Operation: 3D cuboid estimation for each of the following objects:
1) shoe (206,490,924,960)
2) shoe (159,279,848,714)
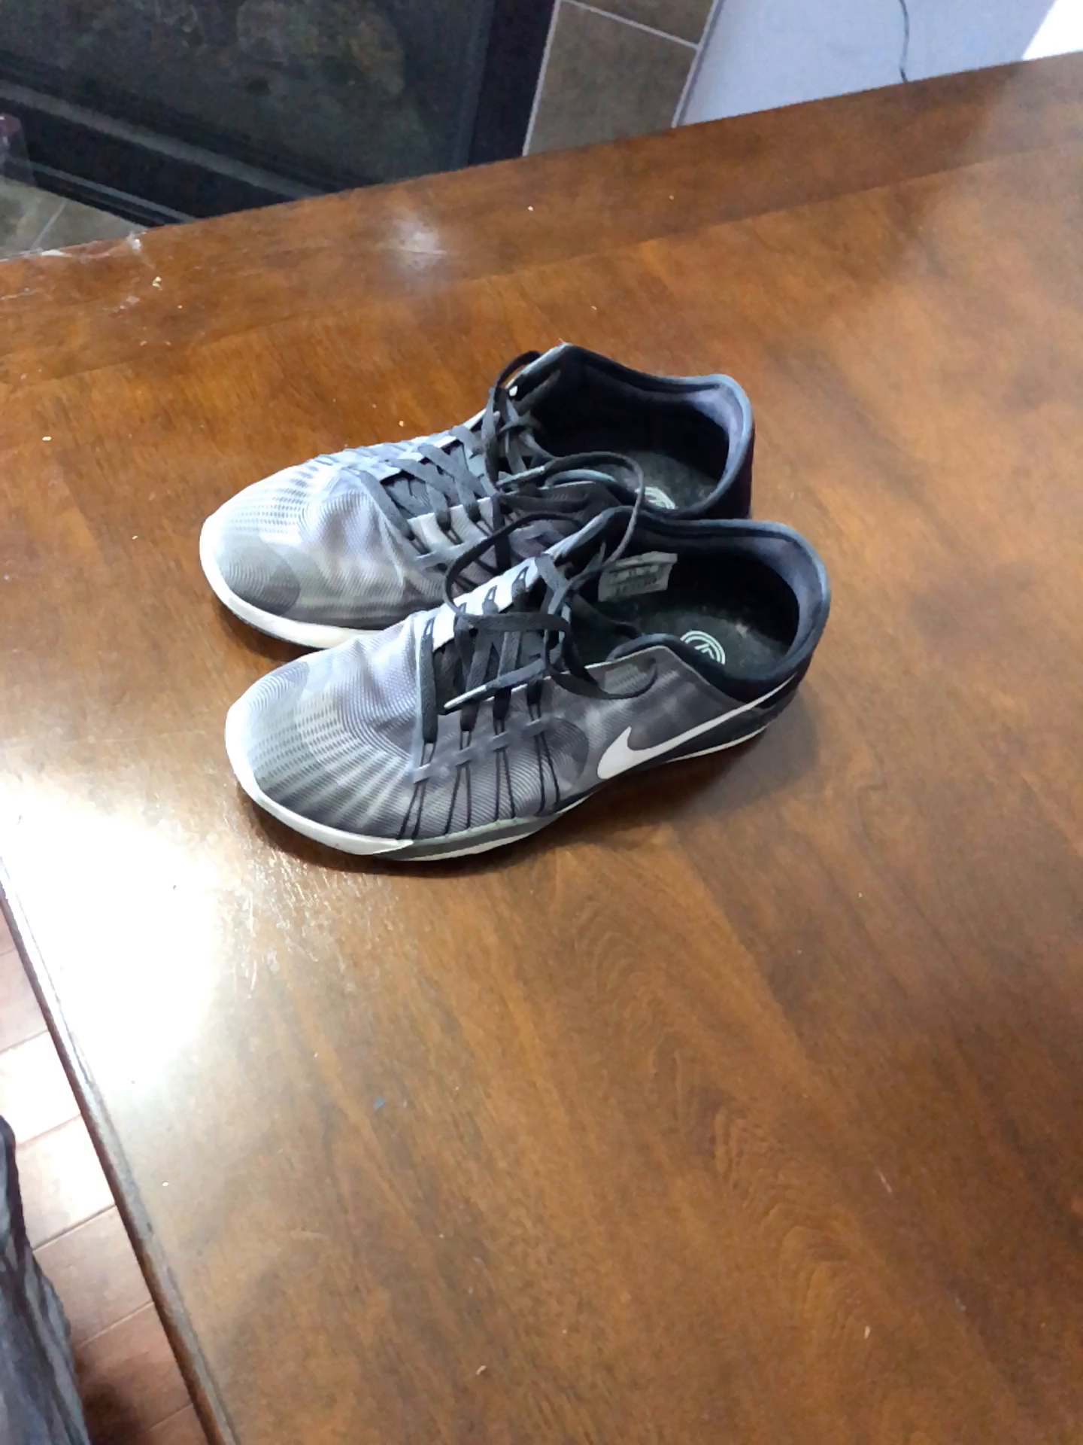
[{"bbox_3d":[0.006,-0.003,0.443,0.230,0.080,0.100,-14,66,-19],"label":"shoe"},{"bbox_3d":[-0.017,-0.091,0.468,0.230,0.090,0.100,-13,66,-19],"label":"shoe"}]
